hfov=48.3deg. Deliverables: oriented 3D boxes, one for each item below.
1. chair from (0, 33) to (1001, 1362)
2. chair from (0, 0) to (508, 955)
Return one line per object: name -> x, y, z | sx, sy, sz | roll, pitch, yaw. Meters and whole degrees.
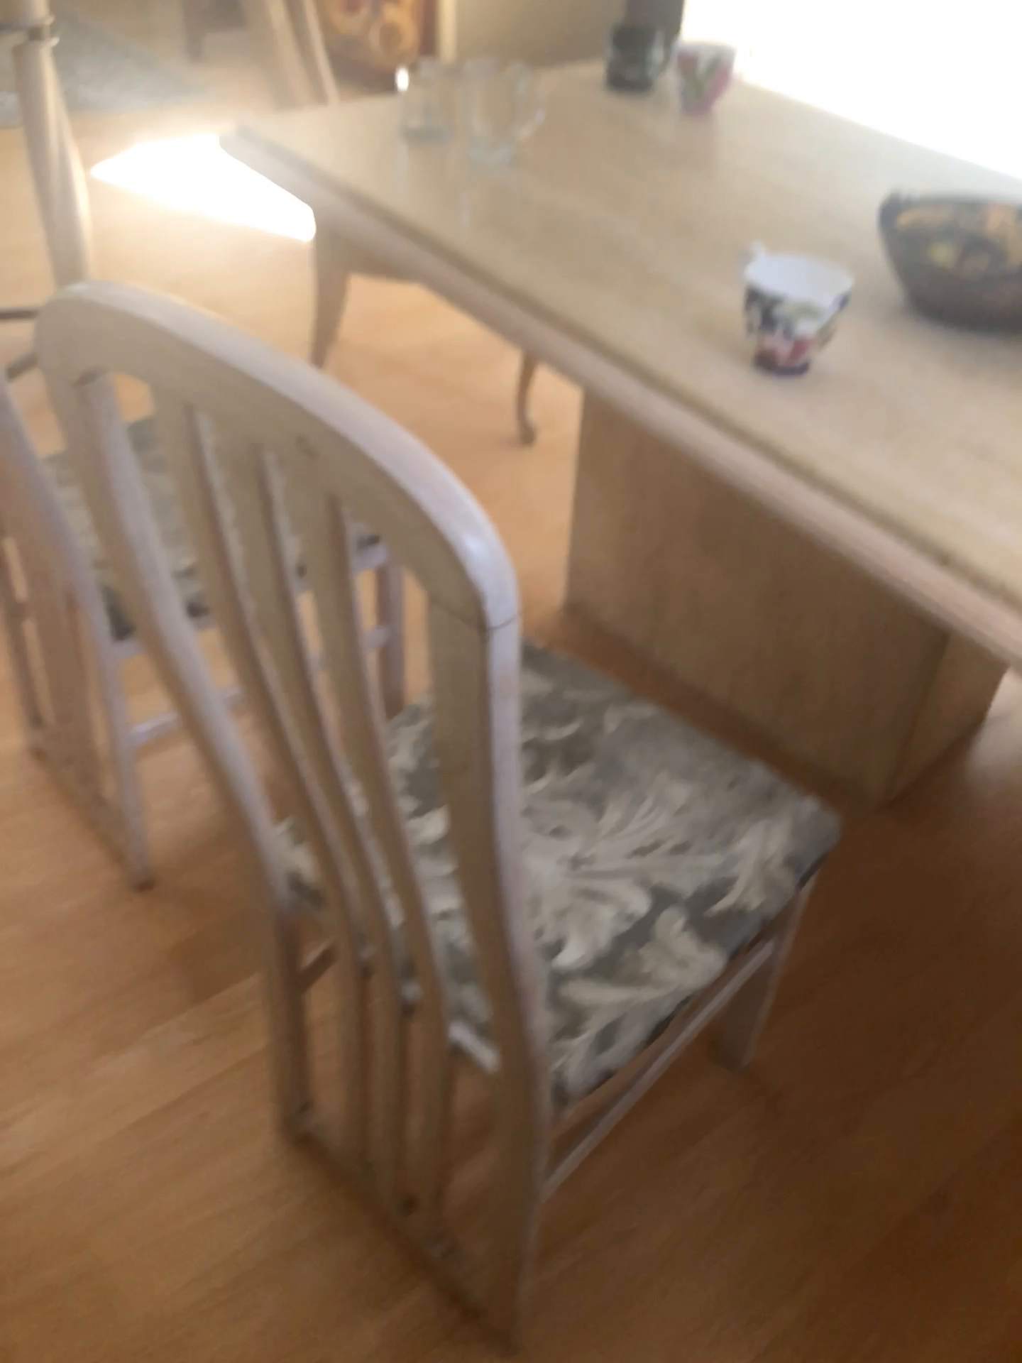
chair -> -0.048, 0.069, 1.147 | 0.564, 1.140, 0.481 | -31, 51, -34
chair -> -0.386, -0.305, 1.412 | 0.563, 1.140, 0.482 | -28, 50, -30
